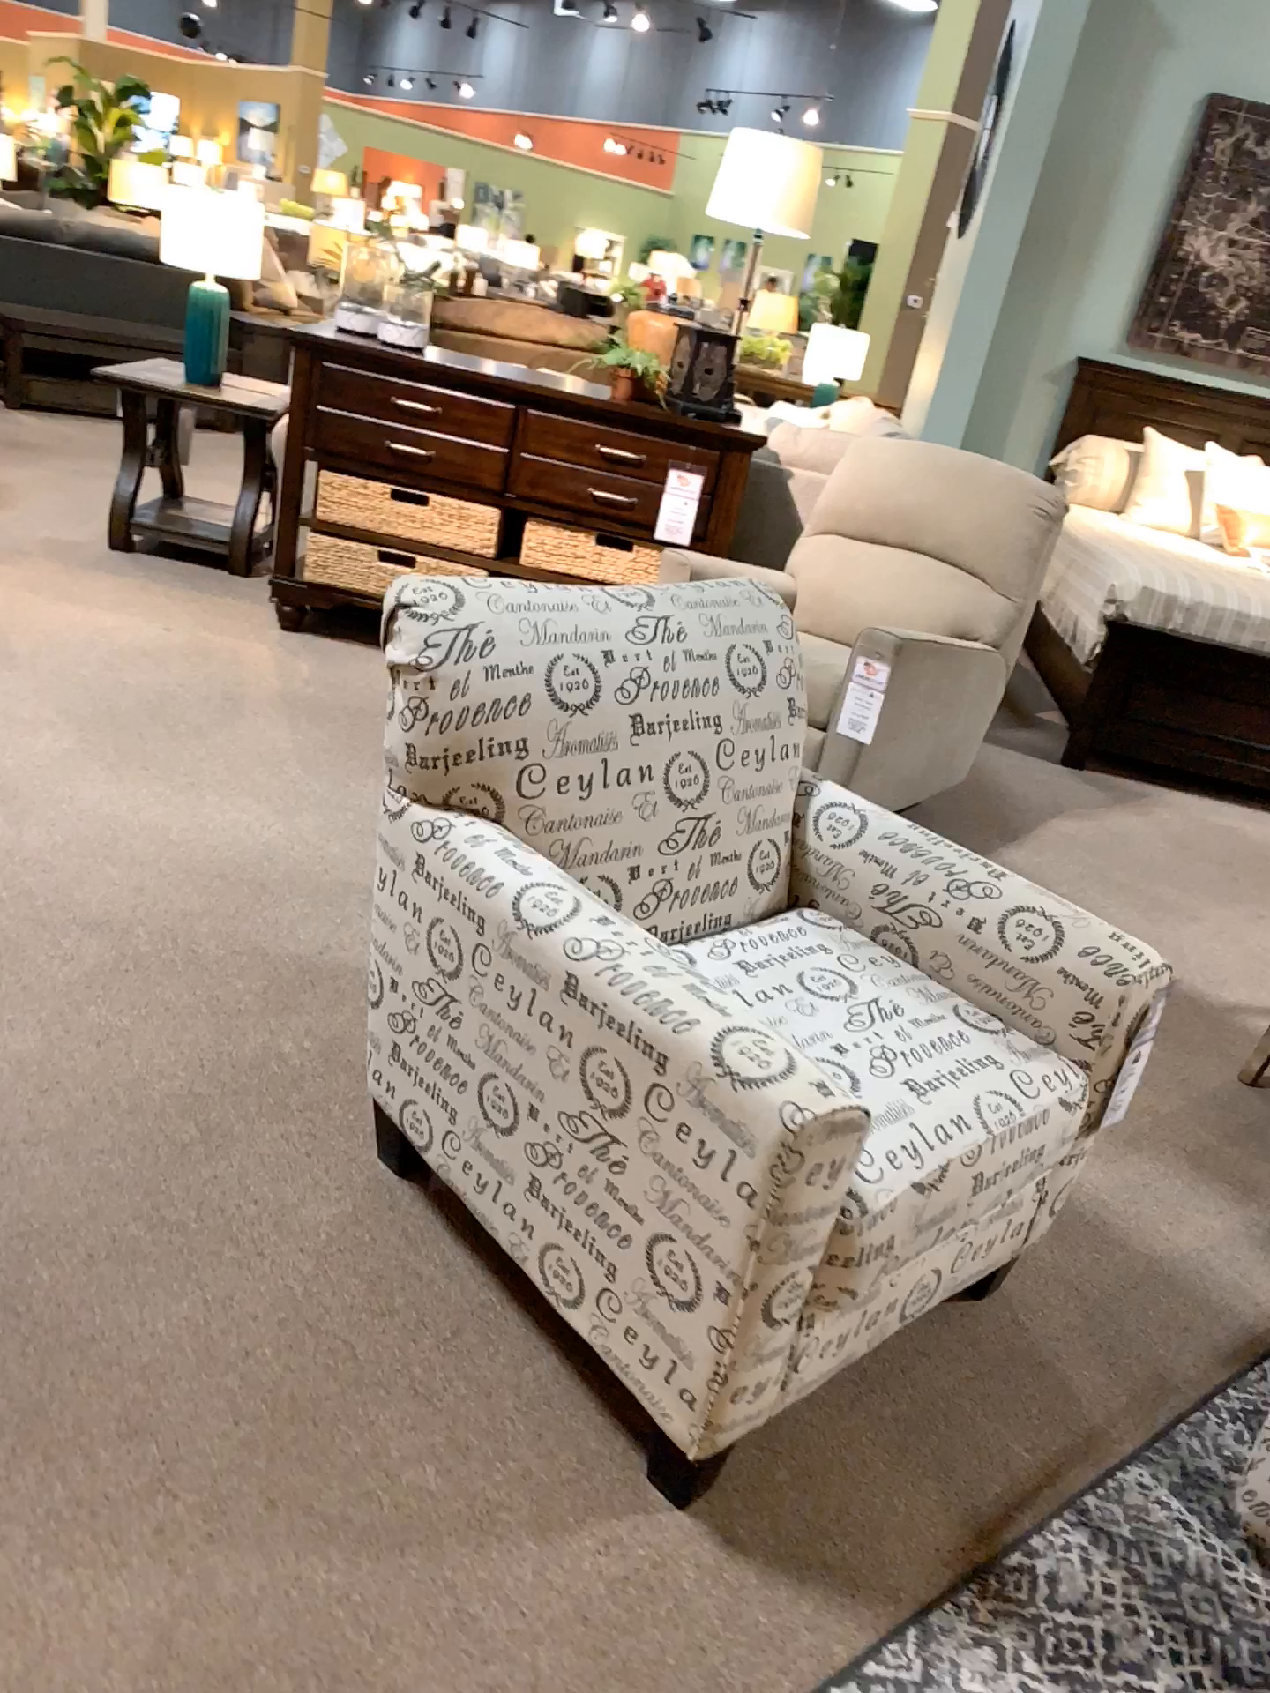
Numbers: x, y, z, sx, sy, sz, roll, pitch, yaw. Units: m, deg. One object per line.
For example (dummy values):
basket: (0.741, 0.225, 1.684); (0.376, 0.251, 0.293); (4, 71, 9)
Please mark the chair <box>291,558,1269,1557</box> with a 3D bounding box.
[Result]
chair: (0.158, 0.153, 1.850); (0.836, 0.870, 0.917); (-11, 34, -43)
